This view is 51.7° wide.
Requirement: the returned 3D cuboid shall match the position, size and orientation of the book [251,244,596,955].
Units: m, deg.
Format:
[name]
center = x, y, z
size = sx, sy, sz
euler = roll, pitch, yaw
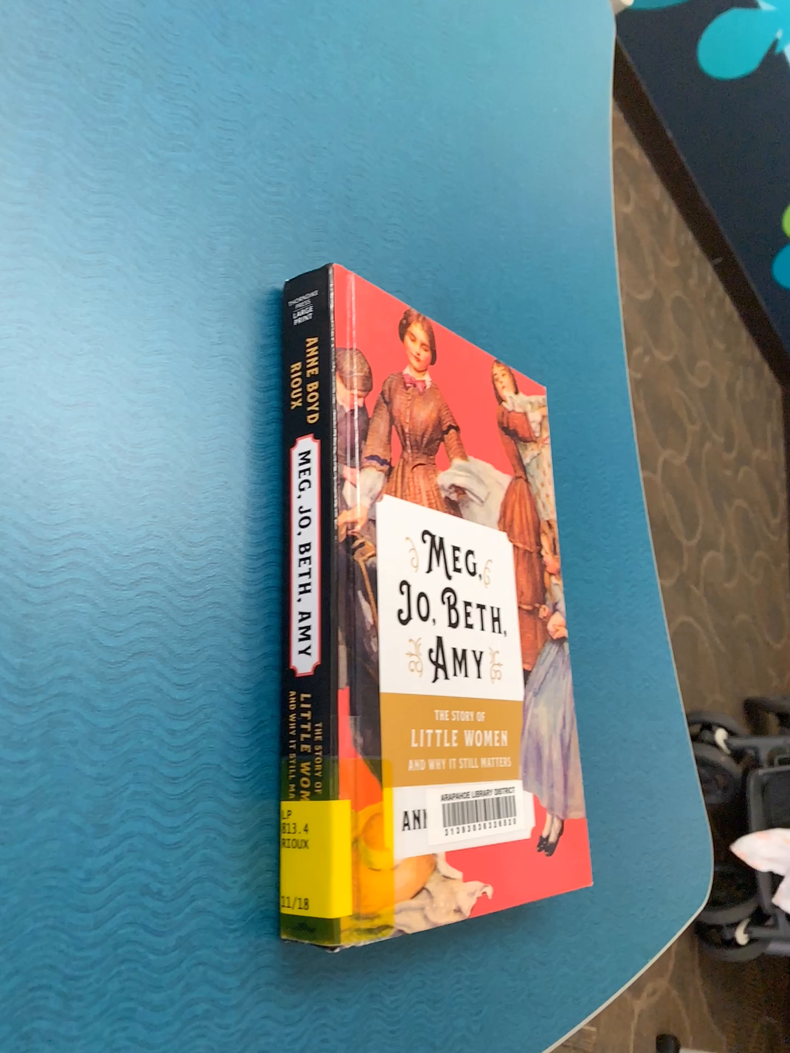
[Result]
[book]
center = 0.016, 0.026, 0.313
size = 0.141, 0.040, 0.220
euler = 15, 68, -47
